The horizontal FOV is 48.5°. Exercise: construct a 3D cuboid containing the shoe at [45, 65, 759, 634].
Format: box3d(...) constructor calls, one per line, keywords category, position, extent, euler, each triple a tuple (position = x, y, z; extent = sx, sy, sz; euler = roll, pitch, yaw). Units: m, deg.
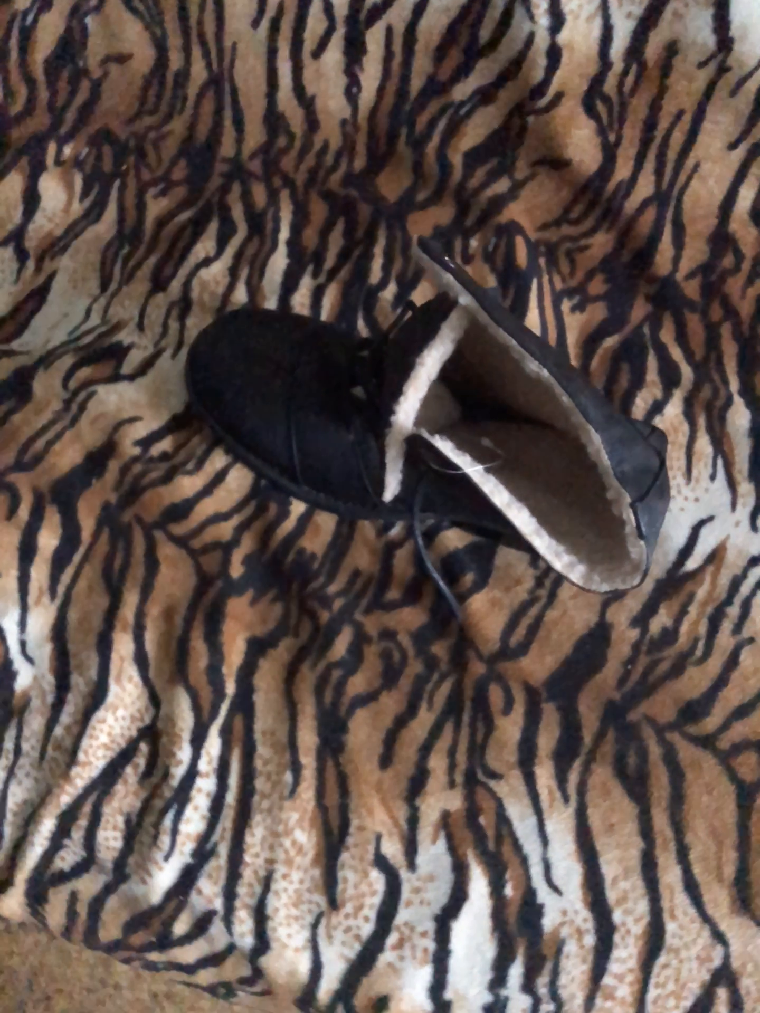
box3d(category="shoe", position=(0.025, -0.077, 0.484), extent=(0.330, 0.200, 0.140), euler=(22, 71, 11))
